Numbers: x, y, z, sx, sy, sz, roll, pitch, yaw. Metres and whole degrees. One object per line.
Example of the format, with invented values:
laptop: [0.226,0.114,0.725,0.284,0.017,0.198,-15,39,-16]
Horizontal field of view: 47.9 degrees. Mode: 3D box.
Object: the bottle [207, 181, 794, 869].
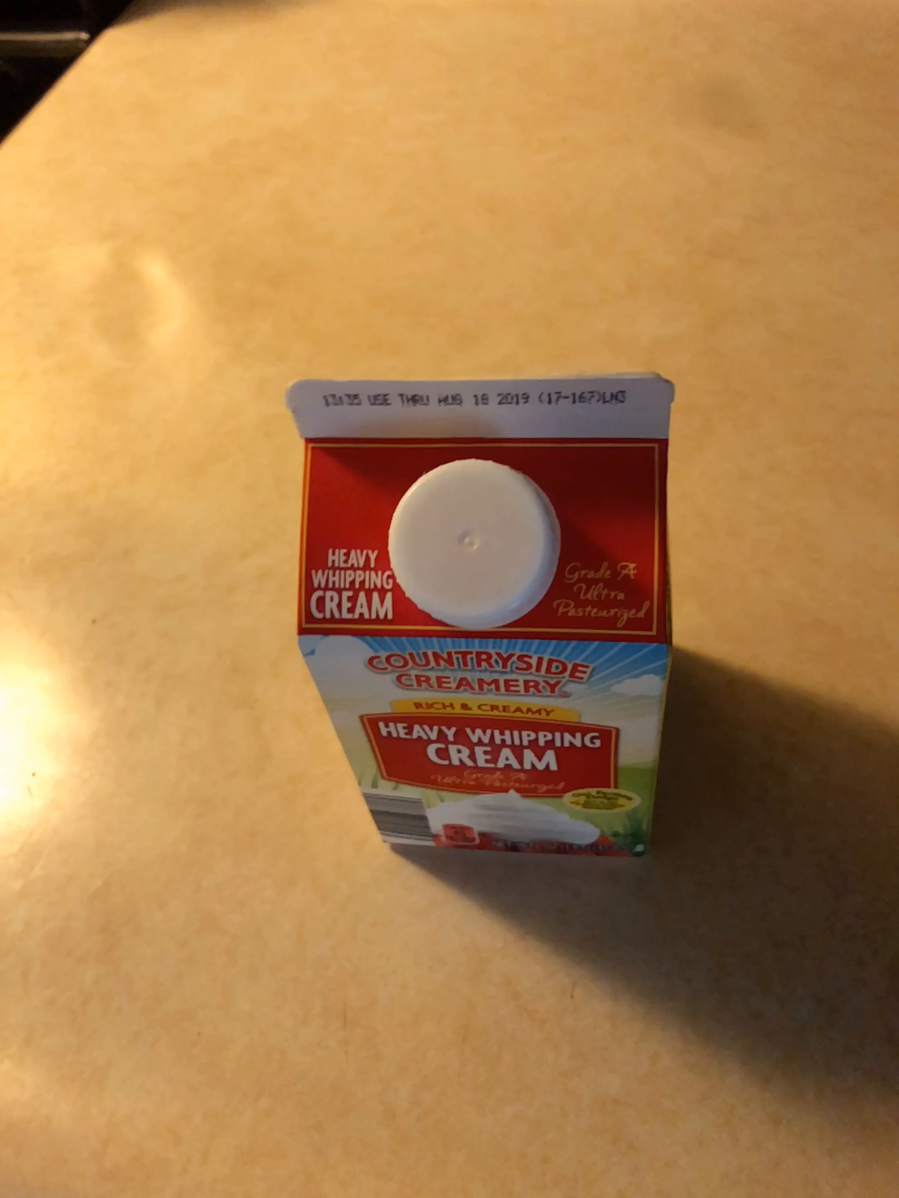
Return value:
bottle: [0.018,-0.009,0.232,0.090,0.130,0.090,-4,53,5]
